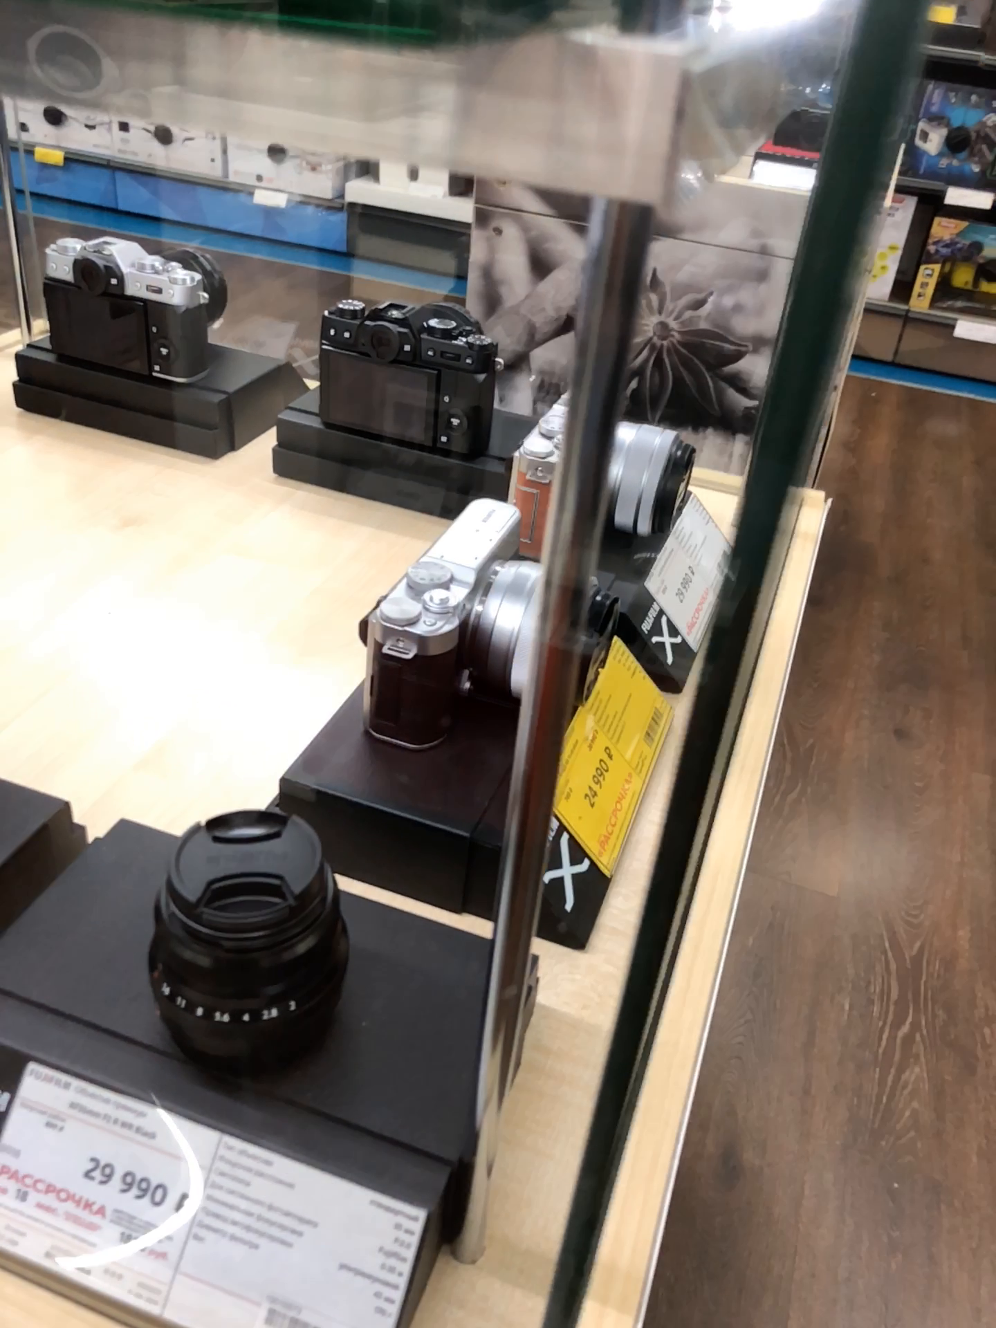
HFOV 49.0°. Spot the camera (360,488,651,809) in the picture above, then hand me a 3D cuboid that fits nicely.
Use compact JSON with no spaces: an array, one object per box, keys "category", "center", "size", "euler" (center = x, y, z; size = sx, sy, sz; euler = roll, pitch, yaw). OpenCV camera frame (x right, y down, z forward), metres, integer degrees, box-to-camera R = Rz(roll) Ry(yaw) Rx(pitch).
[{"category":"camera","center":[0.006,-0.012,0.488],"size":[0.088,0.072,0.121],"euler":[16,35,14]}]

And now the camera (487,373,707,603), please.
[{"category":"camera","center":[0.060,-0.108,0.642],"size":[0.088,0.072,0.129],"euler":[16,35,14]}]
